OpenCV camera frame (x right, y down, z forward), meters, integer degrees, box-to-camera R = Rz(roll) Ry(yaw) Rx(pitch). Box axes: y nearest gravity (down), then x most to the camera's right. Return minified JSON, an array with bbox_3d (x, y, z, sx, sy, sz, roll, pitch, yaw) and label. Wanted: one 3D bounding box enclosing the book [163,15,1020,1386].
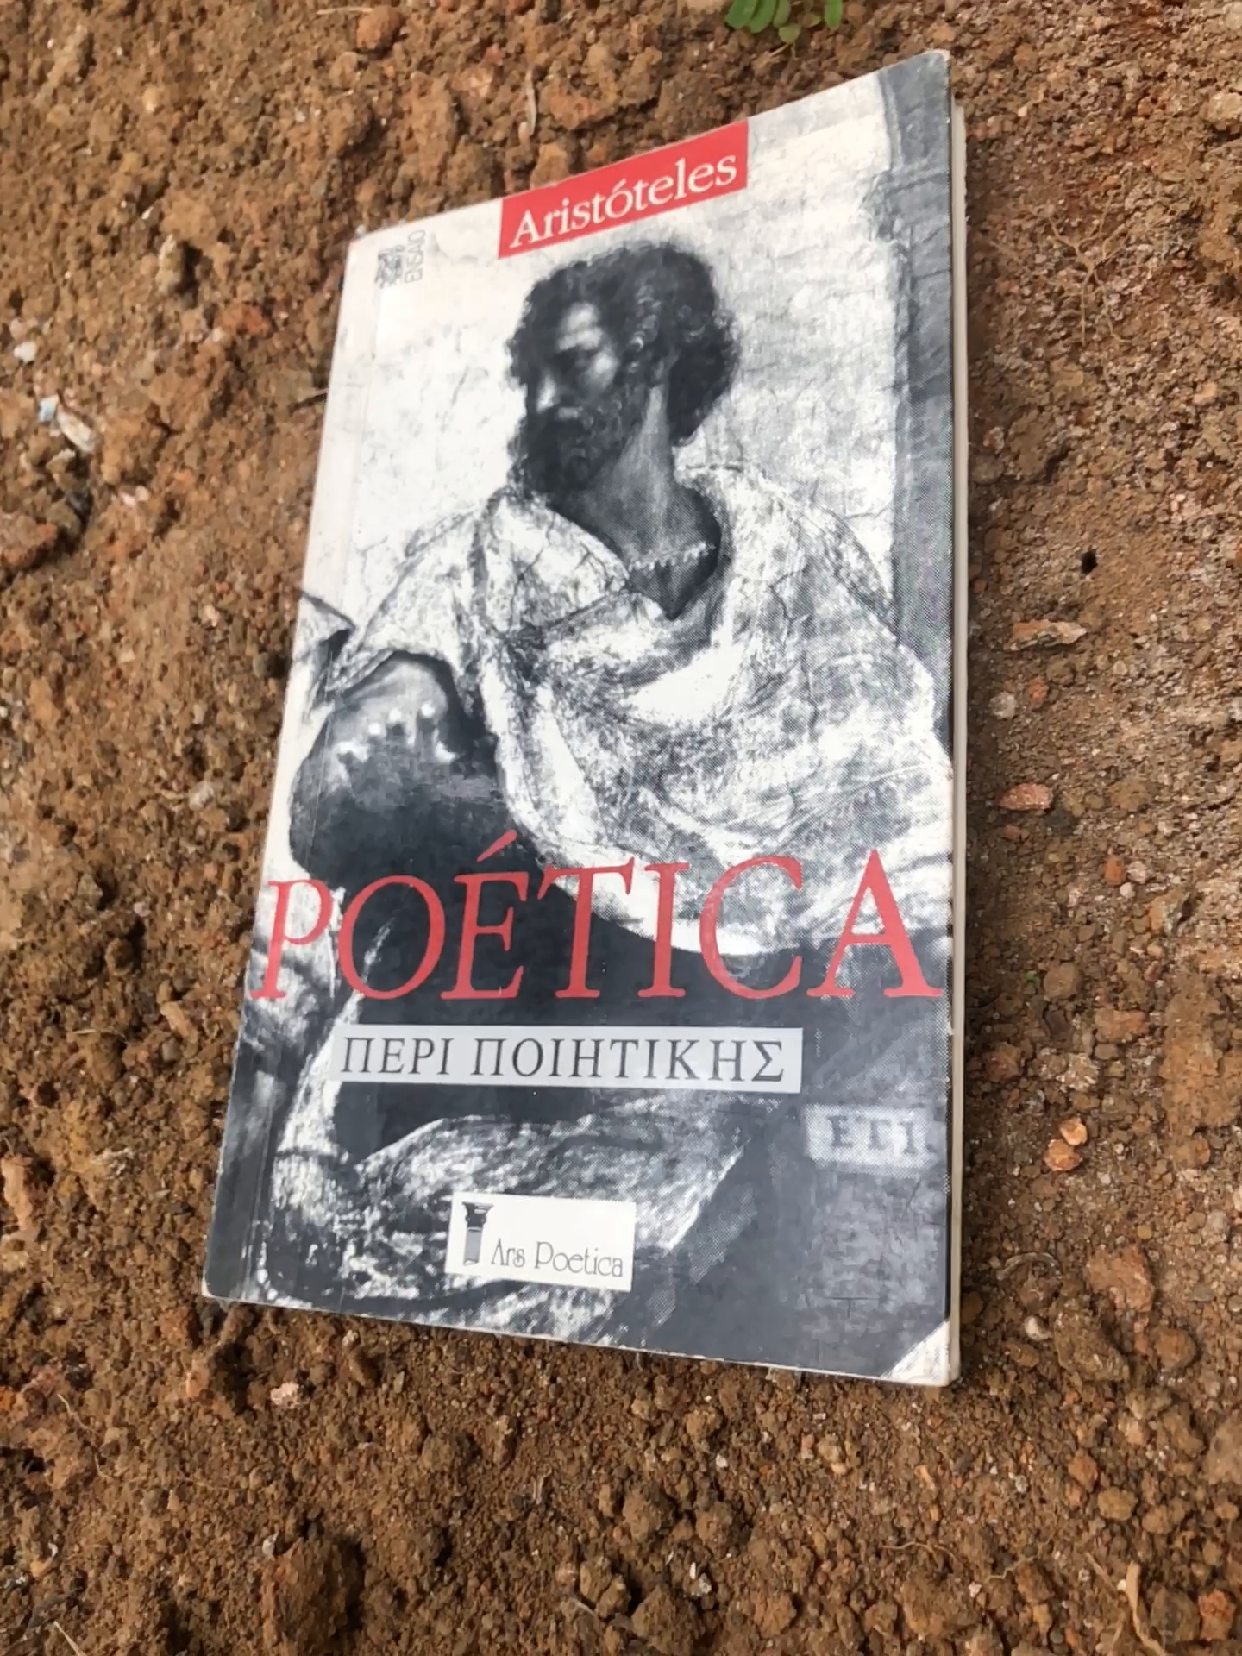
[{"bbox_3d":[-0.006,-0.022,0.219,0.130,0.015,0.189,-5,73,29],"label":"book"}]
